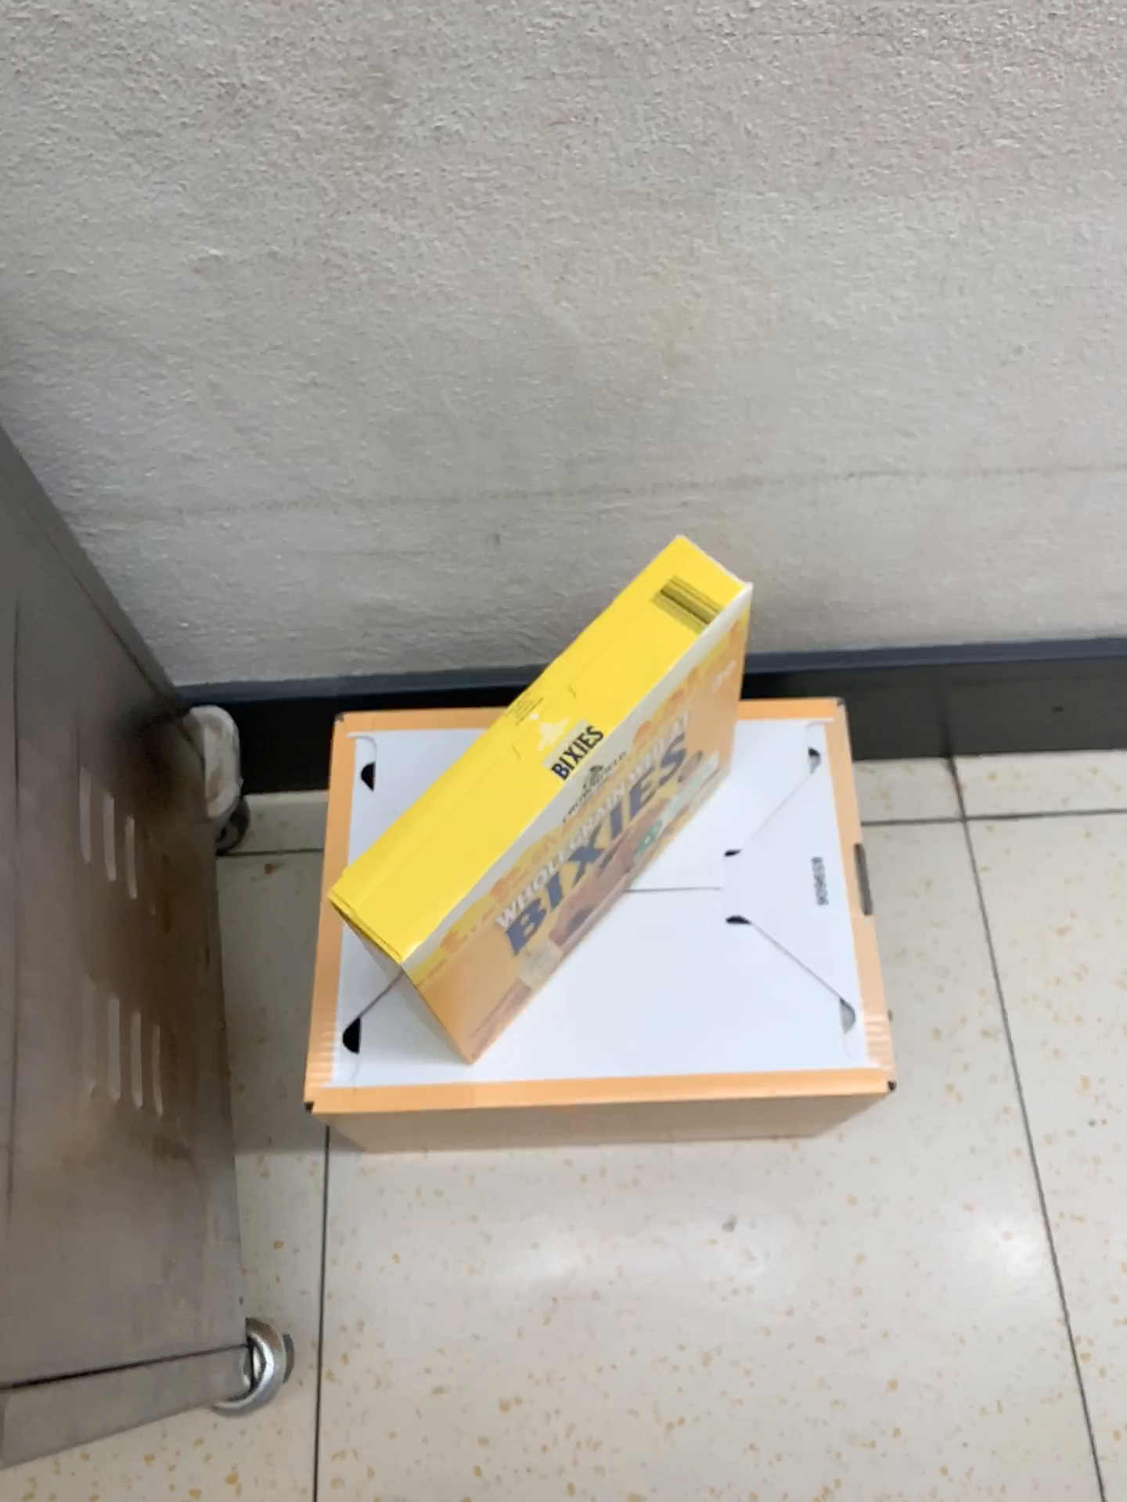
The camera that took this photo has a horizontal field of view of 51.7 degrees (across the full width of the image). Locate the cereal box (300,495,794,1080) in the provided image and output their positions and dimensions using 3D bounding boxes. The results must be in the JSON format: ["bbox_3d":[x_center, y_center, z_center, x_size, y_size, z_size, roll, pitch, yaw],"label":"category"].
[{"bbox_3d":[0.001,0.040,0.701,0.070,0.279,0.291,38,71,16],"label":"cereal box"}]
